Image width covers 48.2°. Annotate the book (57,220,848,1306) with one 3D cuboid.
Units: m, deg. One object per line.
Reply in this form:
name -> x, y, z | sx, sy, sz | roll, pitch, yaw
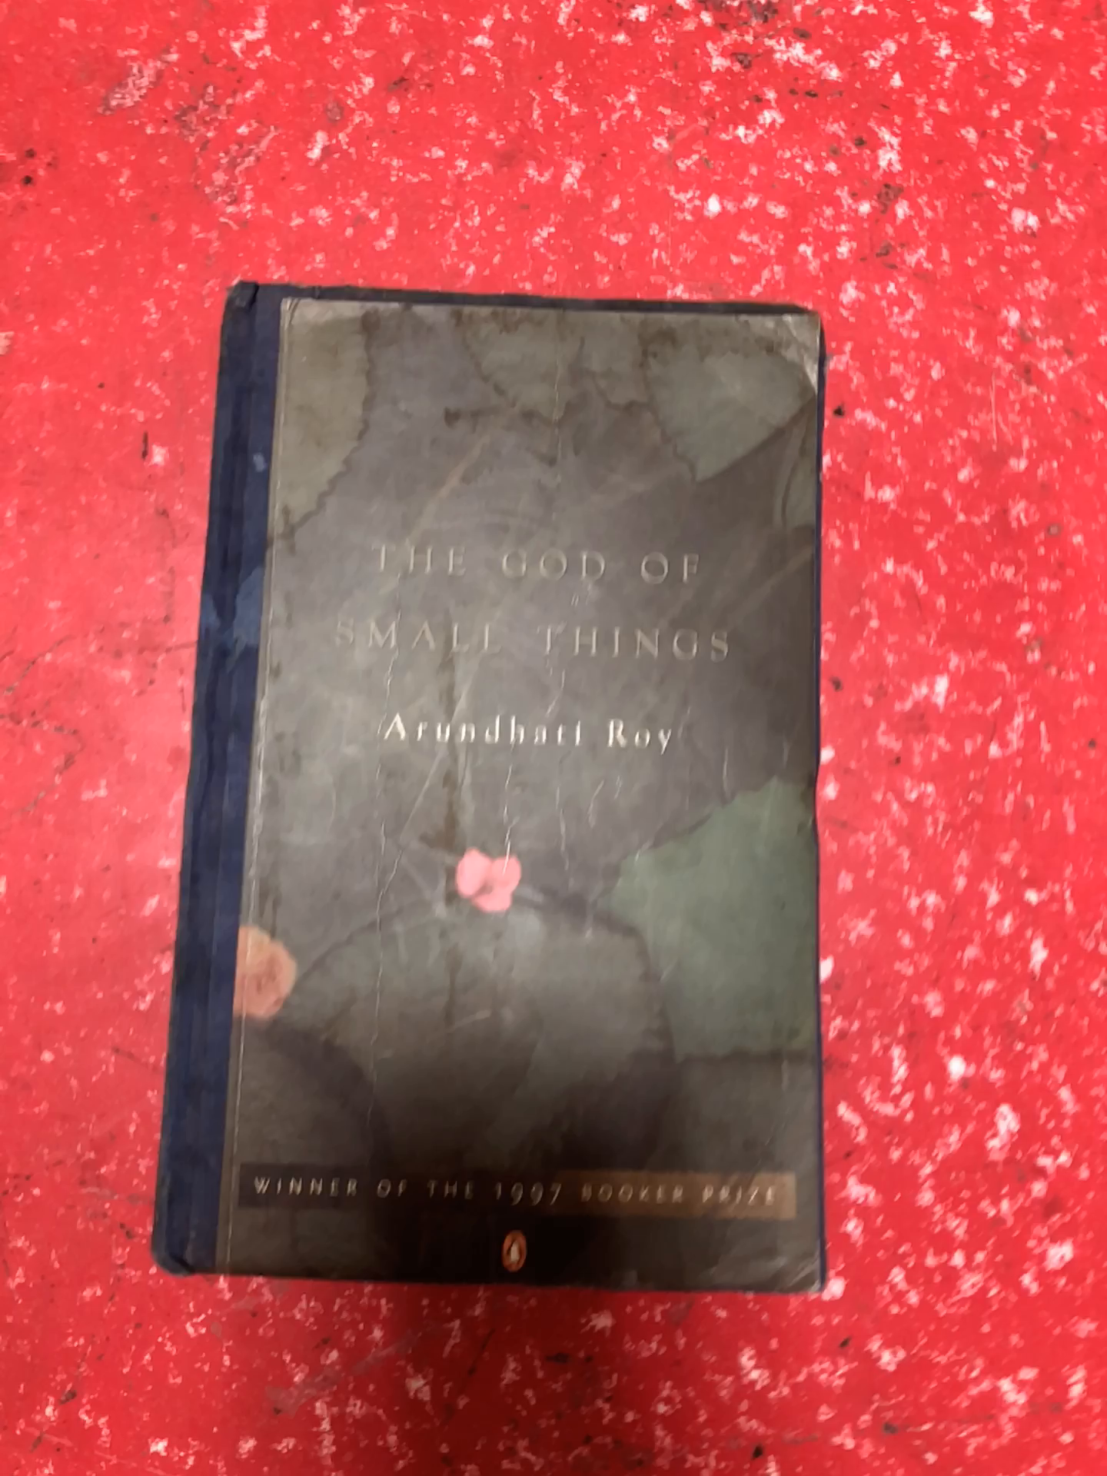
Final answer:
book -> -0.016, 0.001, 0.277 | 0.150, 0.040, 0.220 | 3, 81, 0
